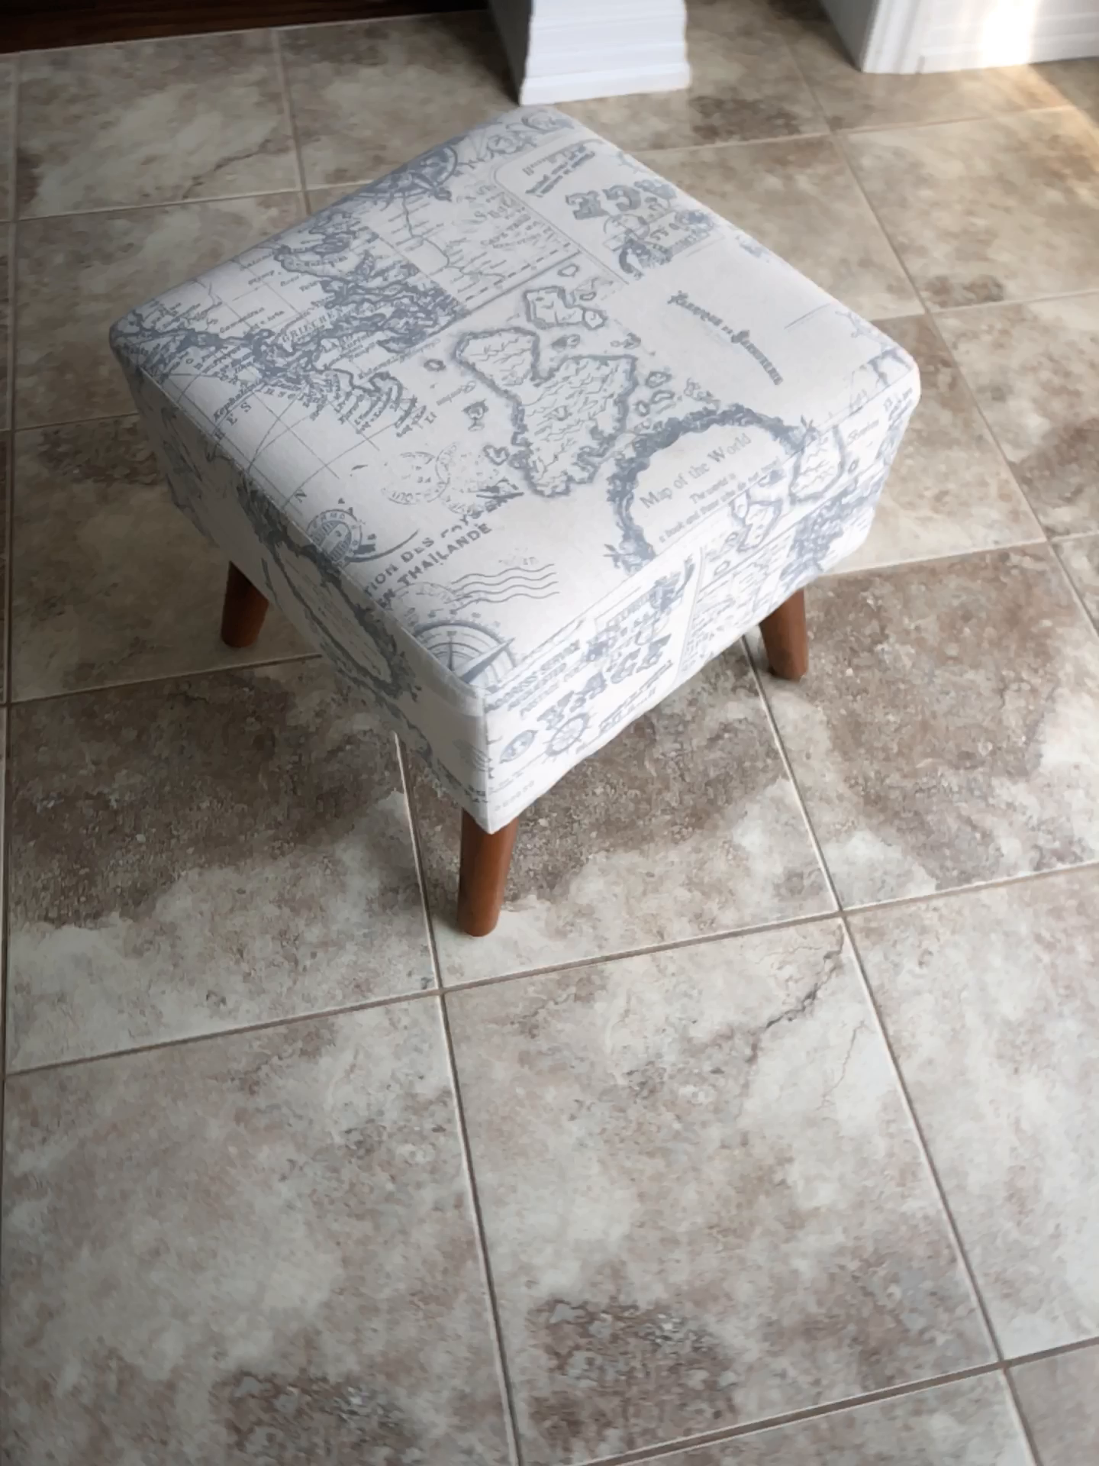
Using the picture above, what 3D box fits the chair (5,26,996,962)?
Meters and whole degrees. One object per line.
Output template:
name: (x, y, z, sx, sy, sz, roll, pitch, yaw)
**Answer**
chair: (-0.040, -0.187, 0.904, 0.420, 0.319, 0.470, -37, 67, -21)
